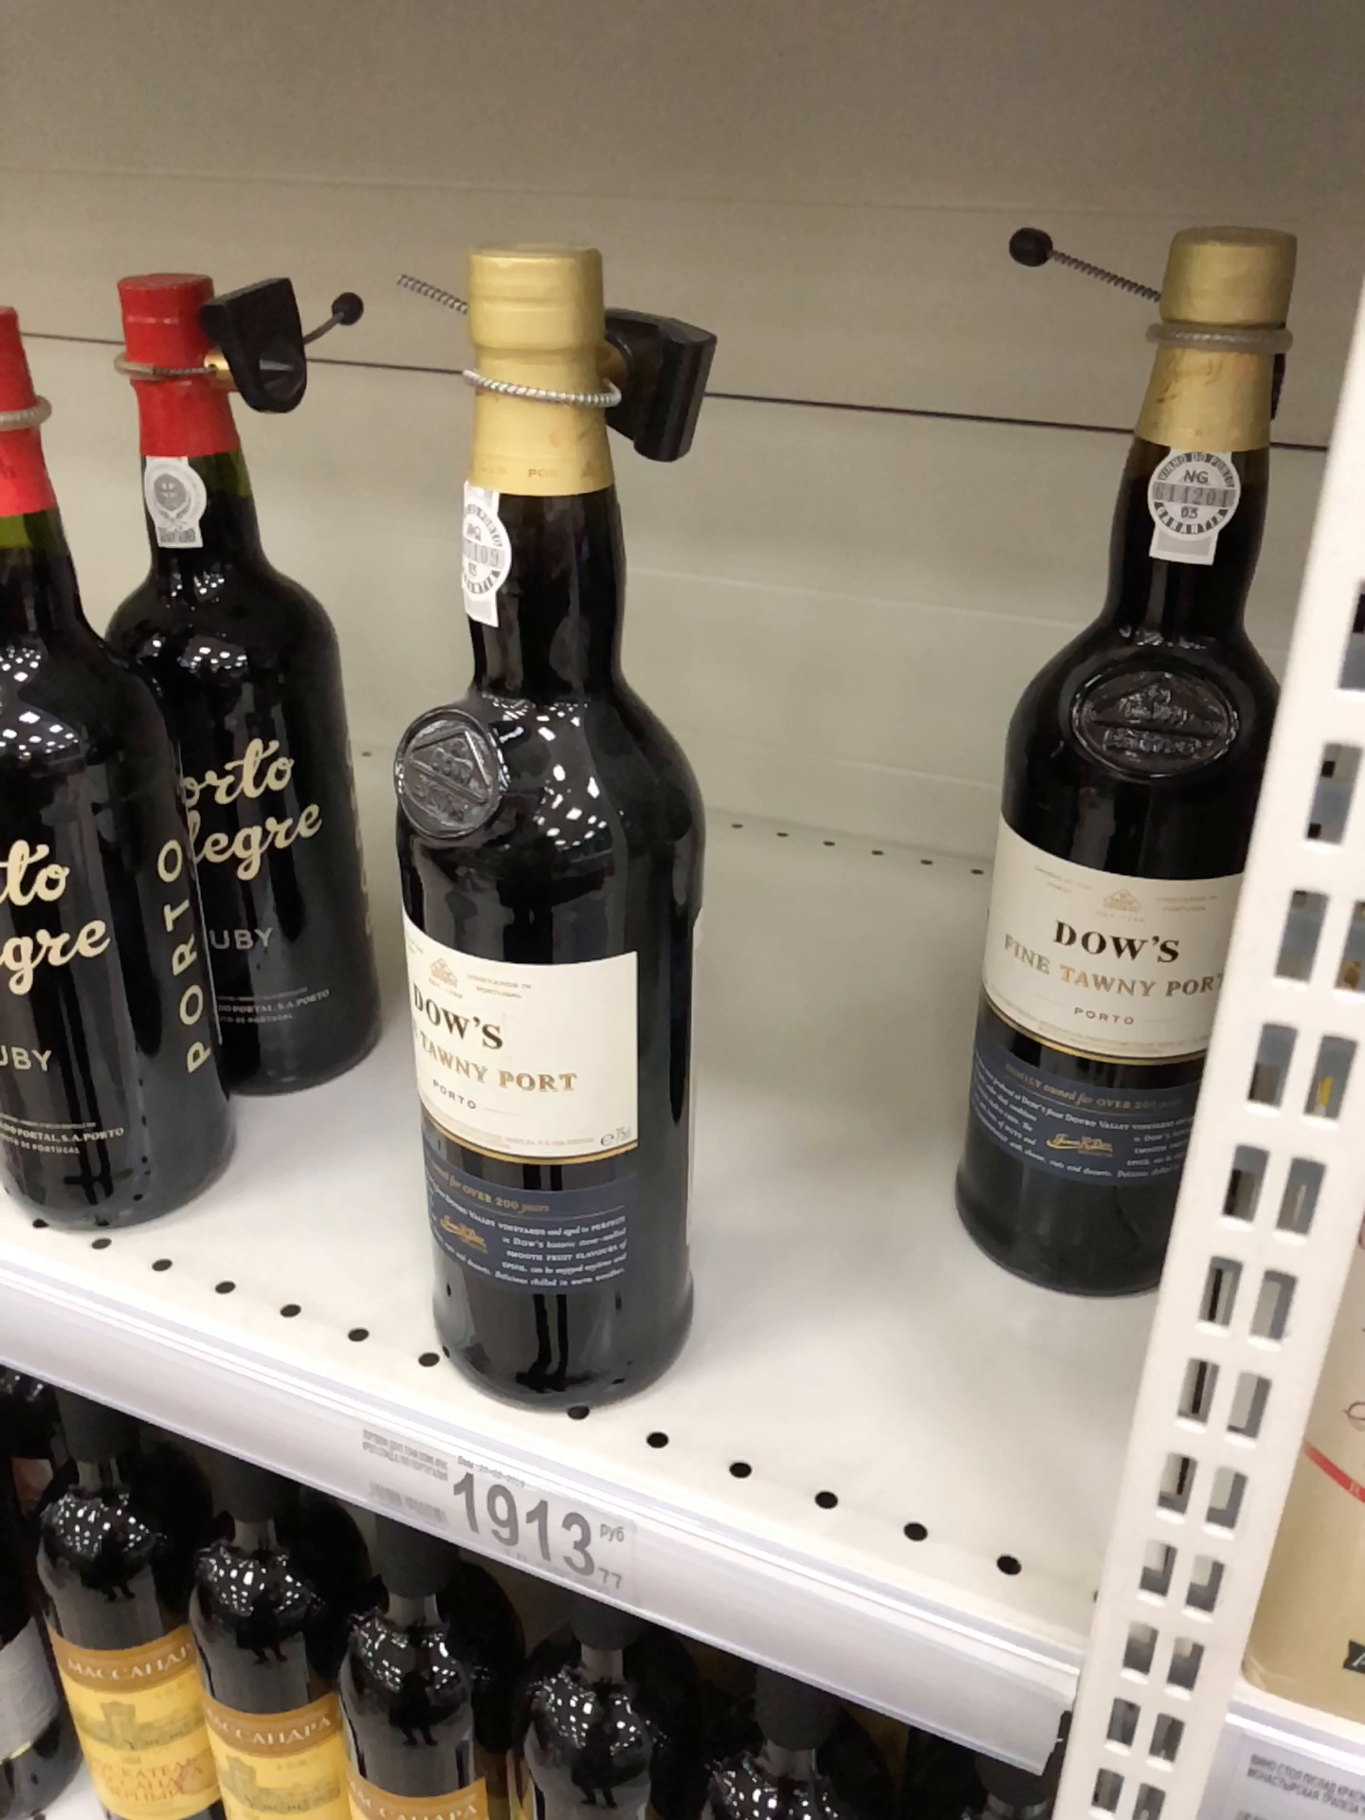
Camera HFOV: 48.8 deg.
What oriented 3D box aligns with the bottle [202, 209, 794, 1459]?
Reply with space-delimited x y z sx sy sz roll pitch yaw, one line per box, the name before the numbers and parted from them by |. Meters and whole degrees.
bottle | -0.037 -0.014 0.387 0.090 0.296 0.090 0 27 0
